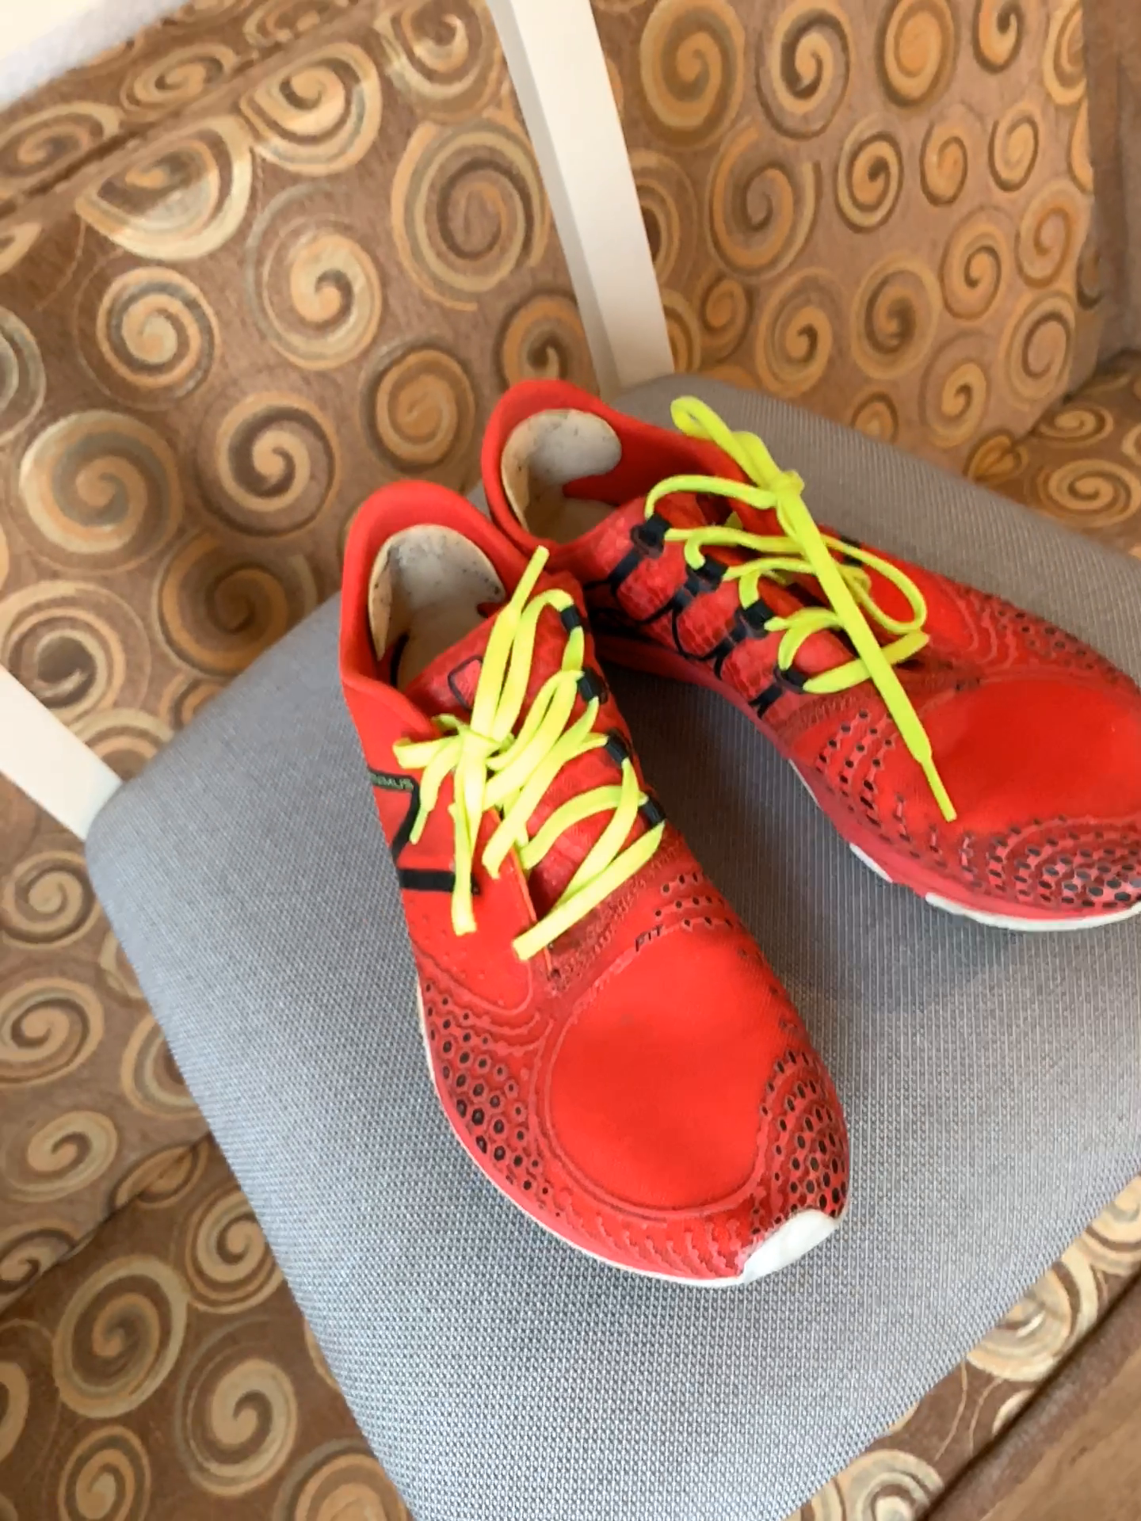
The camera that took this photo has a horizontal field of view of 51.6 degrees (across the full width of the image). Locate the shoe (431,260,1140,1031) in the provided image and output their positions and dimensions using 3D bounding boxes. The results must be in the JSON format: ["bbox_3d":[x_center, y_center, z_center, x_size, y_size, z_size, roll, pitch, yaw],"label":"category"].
[{"bbox_3d":[0.091,-0.048,0.390,0.261,0.090,0.110,37,73,26],"label":"shoe"}]

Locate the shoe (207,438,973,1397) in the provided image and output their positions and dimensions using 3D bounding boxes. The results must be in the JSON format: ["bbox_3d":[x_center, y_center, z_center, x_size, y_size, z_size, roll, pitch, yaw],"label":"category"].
[{"bbox_3d":[-0.007,0.036,0.365,0.110,0.090,0.261,-27,60,-5],"label":"shoe"}]
